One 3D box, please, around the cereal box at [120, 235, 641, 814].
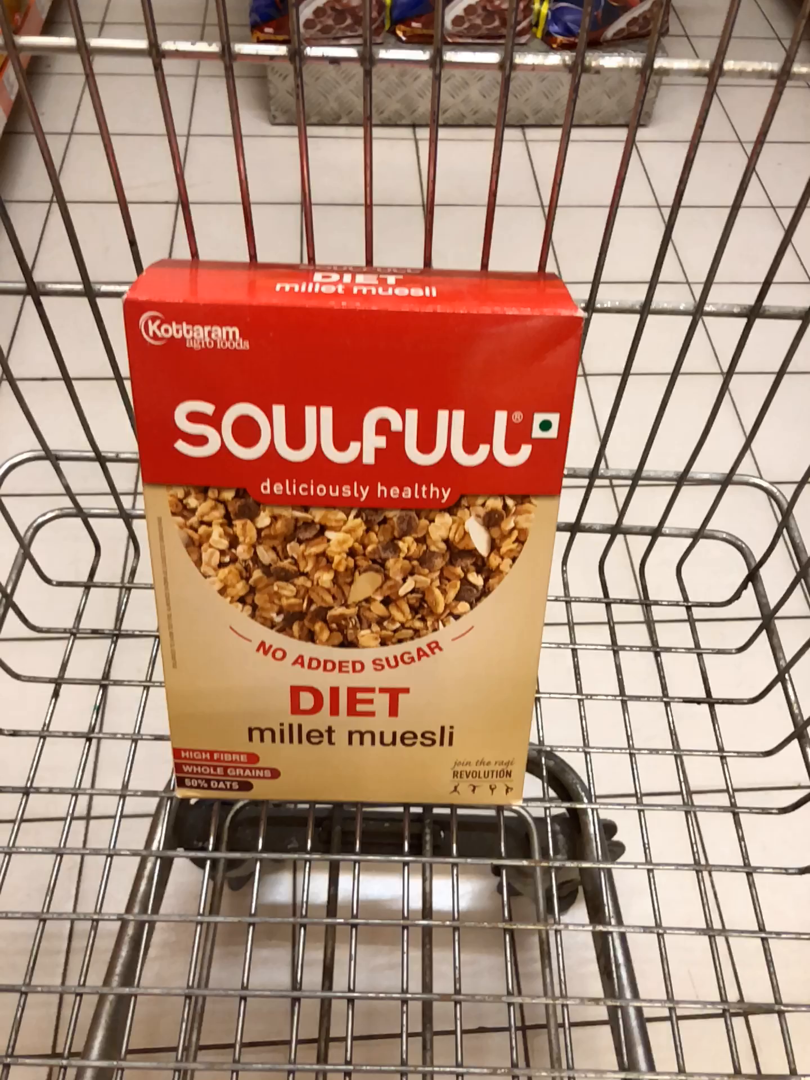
[{"bbox_3d":[-0.013,0.009,0.380,0.170,0.249,0.050,2,32,-2],"label":"cereal box"}]
